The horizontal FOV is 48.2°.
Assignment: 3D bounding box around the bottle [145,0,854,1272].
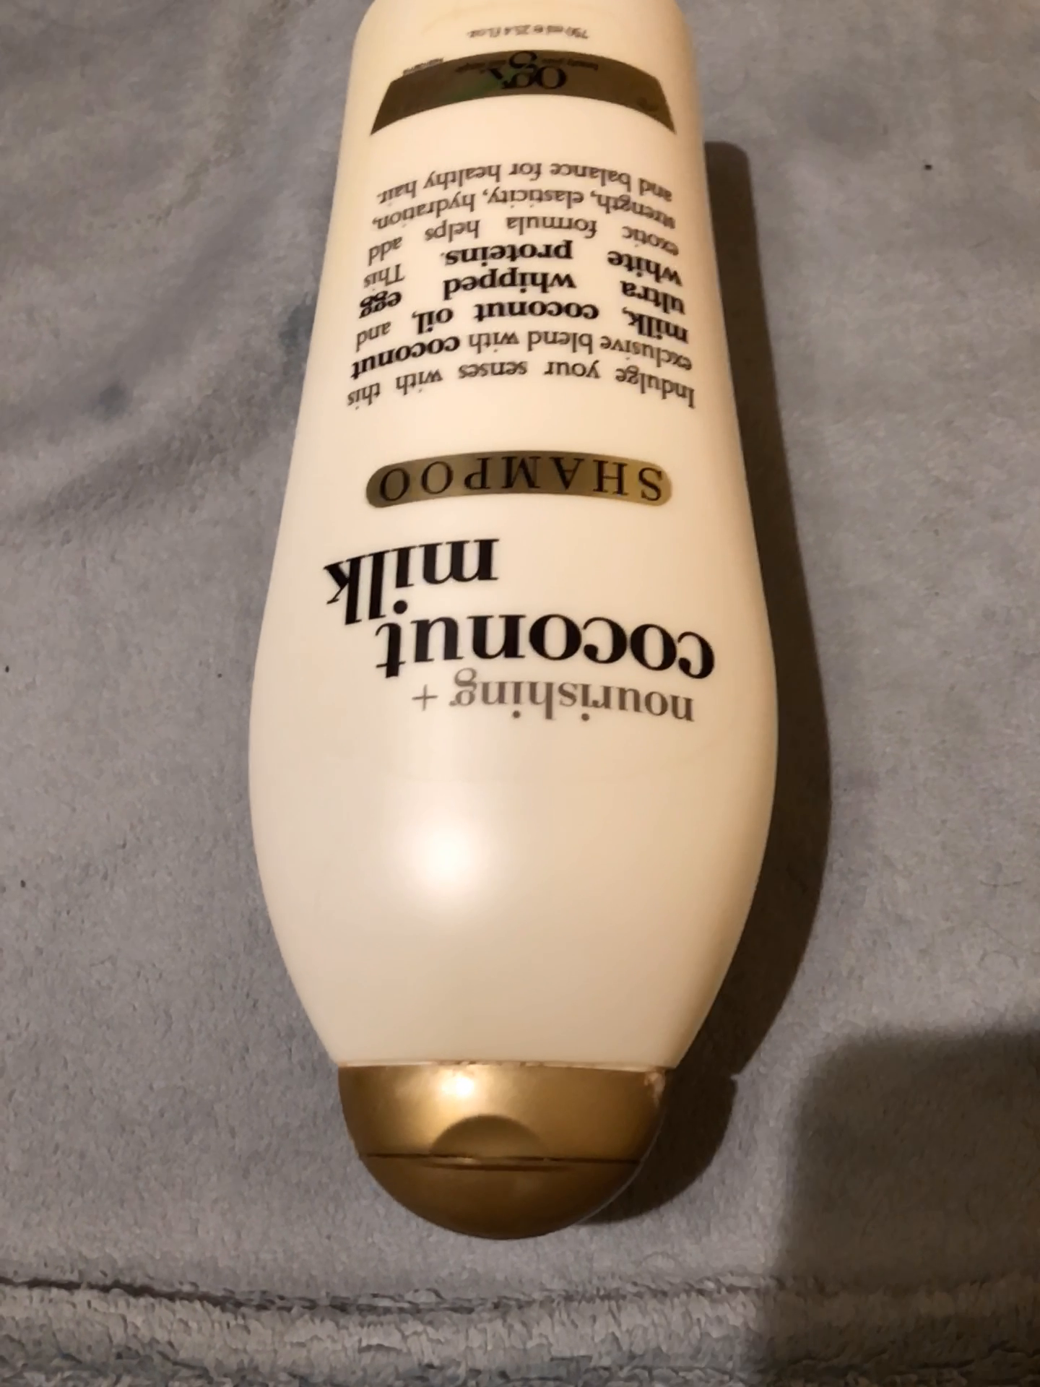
[{"bbox_3d":[0.002,-0.033,0.188,0.080,0.040,0.220,0,69,6],"label":"bottle"}]
